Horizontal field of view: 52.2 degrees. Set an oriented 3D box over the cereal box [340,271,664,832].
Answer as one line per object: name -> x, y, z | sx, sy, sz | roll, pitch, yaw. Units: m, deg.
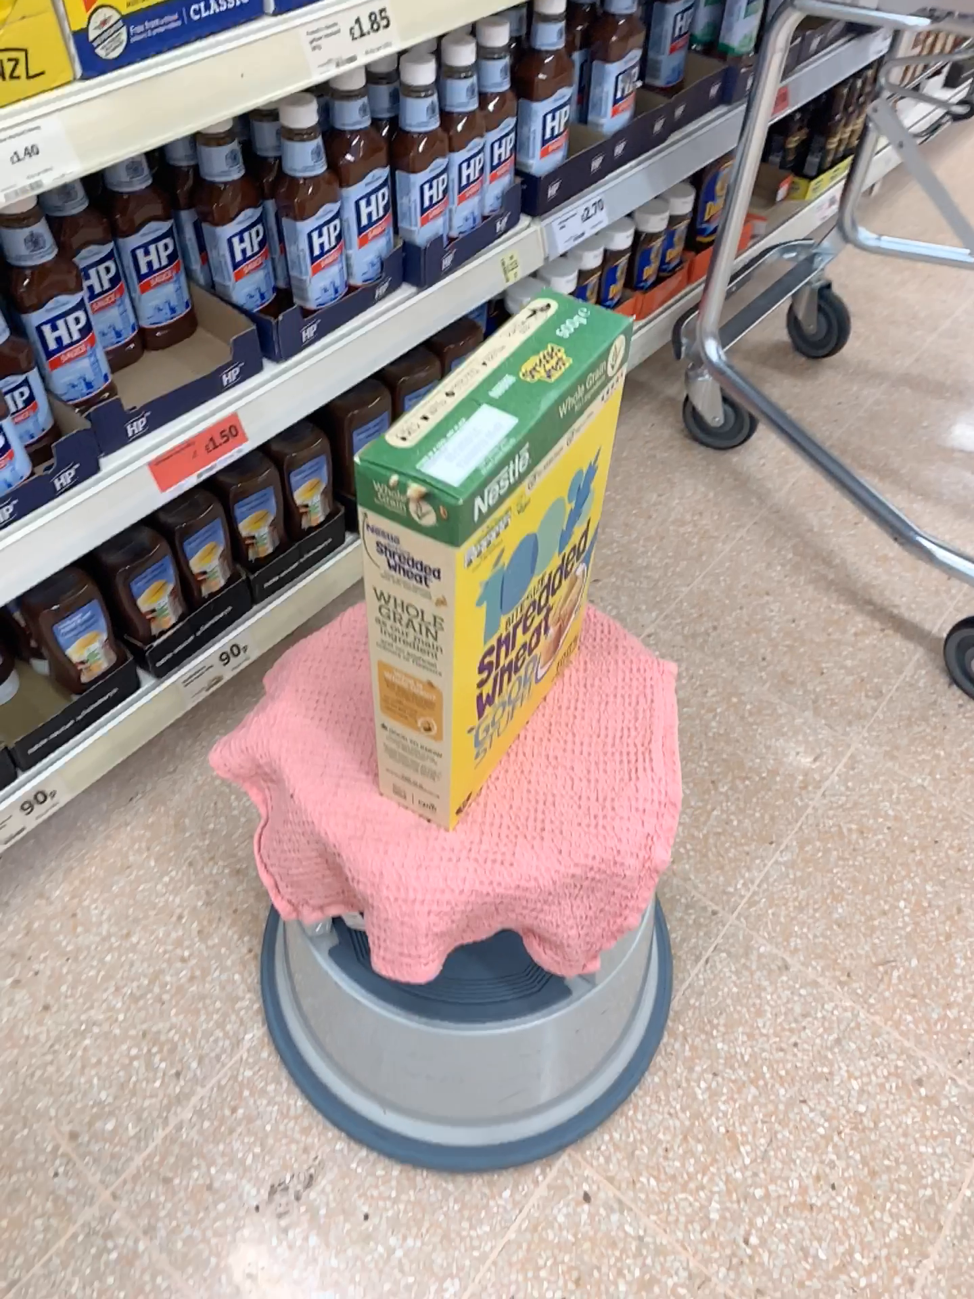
cereal box -> 0.012, -0.052, 0.622 | 0.070, 0.277, 0.211 | 26, 53, 19
